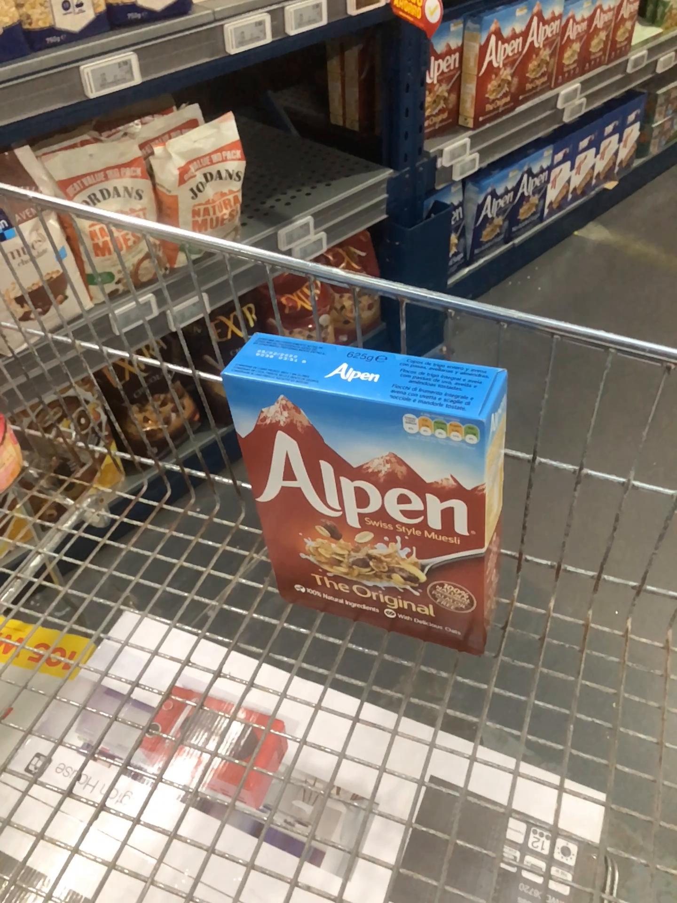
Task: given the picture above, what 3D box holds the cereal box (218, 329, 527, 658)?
[{"bbox_3d":[0.028,0.035,0.533,0.180,0.219,0.060,12,45,20],"label":"cereal box"}]
